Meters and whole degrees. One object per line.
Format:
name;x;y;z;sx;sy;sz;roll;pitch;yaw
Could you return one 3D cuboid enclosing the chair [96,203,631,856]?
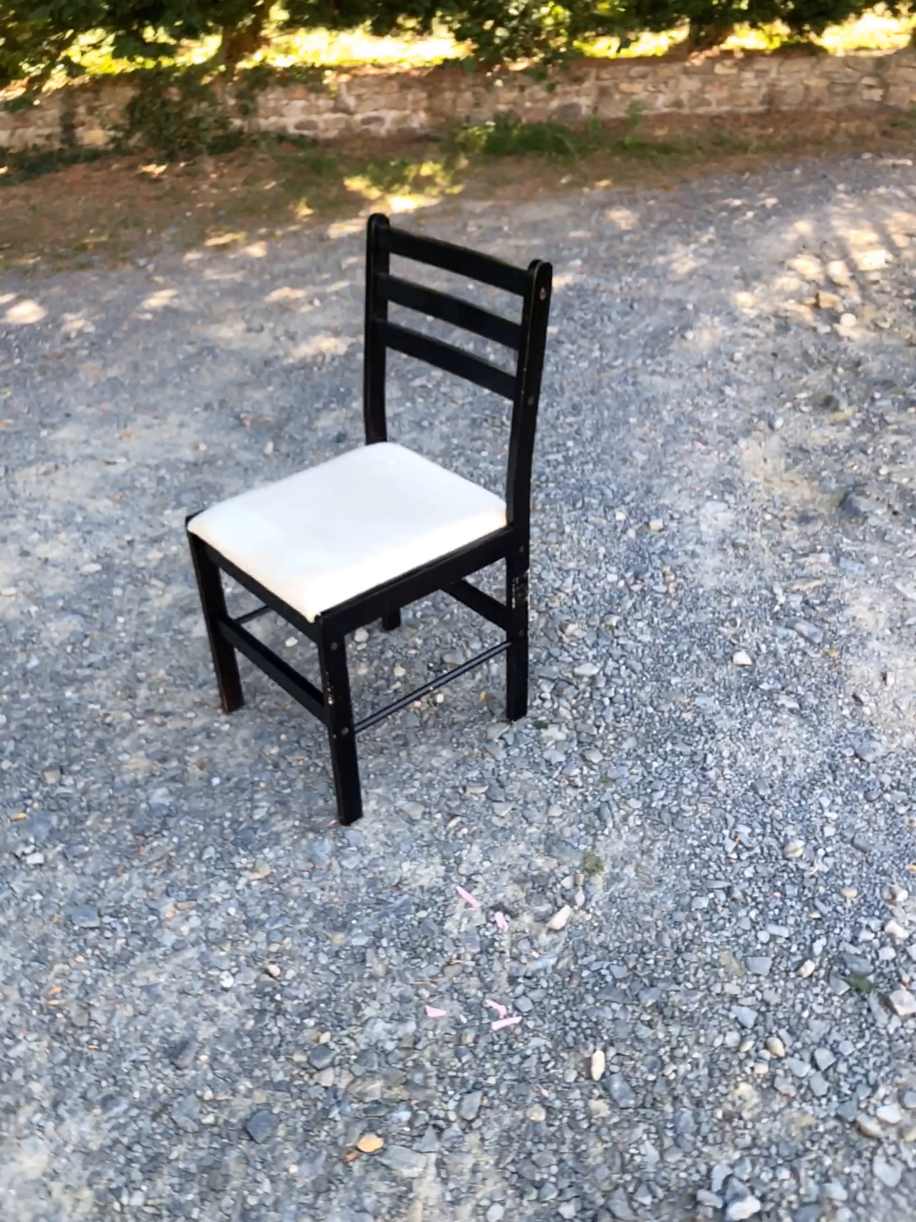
chair;-0.130;-0.157;1.646;0.532;0.776;0.541;-29;45;-32
